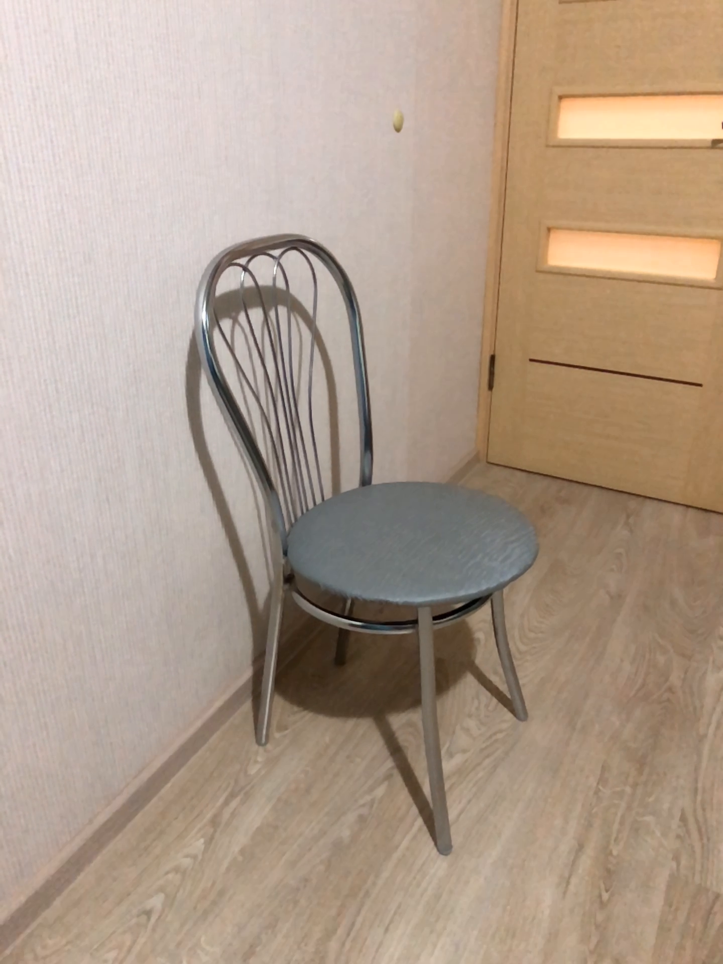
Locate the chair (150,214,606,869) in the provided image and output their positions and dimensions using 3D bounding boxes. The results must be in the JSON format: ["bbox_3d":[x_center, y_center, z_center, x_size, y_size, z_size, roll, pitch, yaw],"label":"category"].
[{"bbox_3d":[0.038,0.049,1.220,0.470,0.825,0.402,14,27,29],"label":"chair"}]
